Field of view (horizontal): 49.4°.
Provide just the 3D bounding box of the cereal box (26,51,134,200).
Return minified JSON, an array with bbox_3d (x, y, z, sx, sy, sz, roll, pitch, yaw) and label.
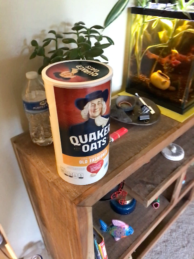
[{"bbox_3d":[-0.036,-0.010,0.445,0.141,0.248,0.140,-20,41,-26],"label":"cereal box"}]
